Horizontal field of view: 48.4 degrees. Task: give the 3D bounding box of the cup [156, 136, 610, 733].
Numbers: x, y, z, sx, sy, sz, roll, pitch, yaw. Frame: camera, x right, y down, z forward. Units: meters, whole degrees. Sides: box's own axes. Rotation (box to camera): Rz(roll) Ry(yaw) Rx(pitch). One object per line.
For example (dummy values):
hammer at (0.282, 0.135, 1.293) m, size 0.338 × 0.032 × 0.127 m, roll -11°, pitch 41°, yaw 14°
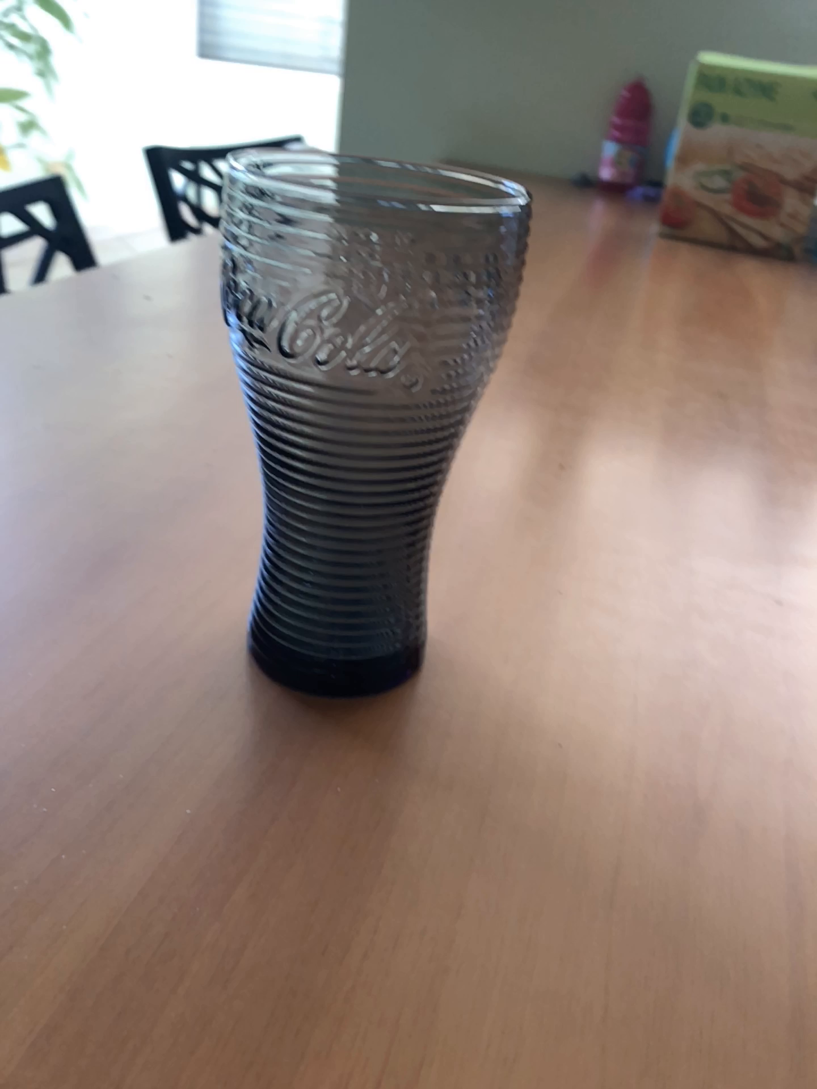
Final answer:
cup at (-0.015, -0.034, 0.250) m, size 0.080 × 0.129 × 0.080 m, roll 6°, pitch 28°, yaw -3°
